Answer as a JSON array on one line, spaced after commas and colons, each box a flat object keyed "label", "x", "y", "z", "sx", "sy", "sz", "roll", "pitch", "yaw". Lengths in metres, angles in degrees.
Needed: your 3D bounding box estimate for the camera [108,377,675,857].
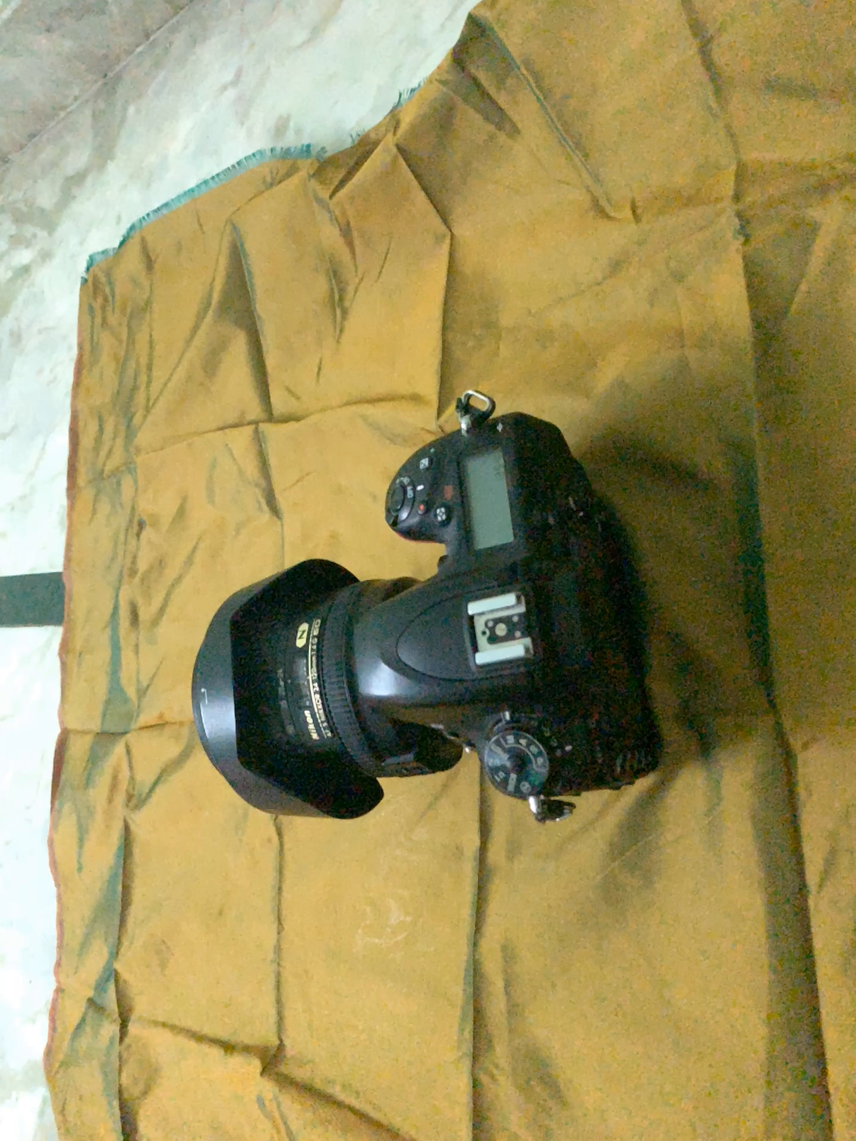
[{"label": "camera", "x": -0.020, "y": 0.032, "z": 0.354, "sx": 0.194, "sy": 0.100, "sz": 0.140, "roll": -13, "pitch": 76, "yaw": 28}]
